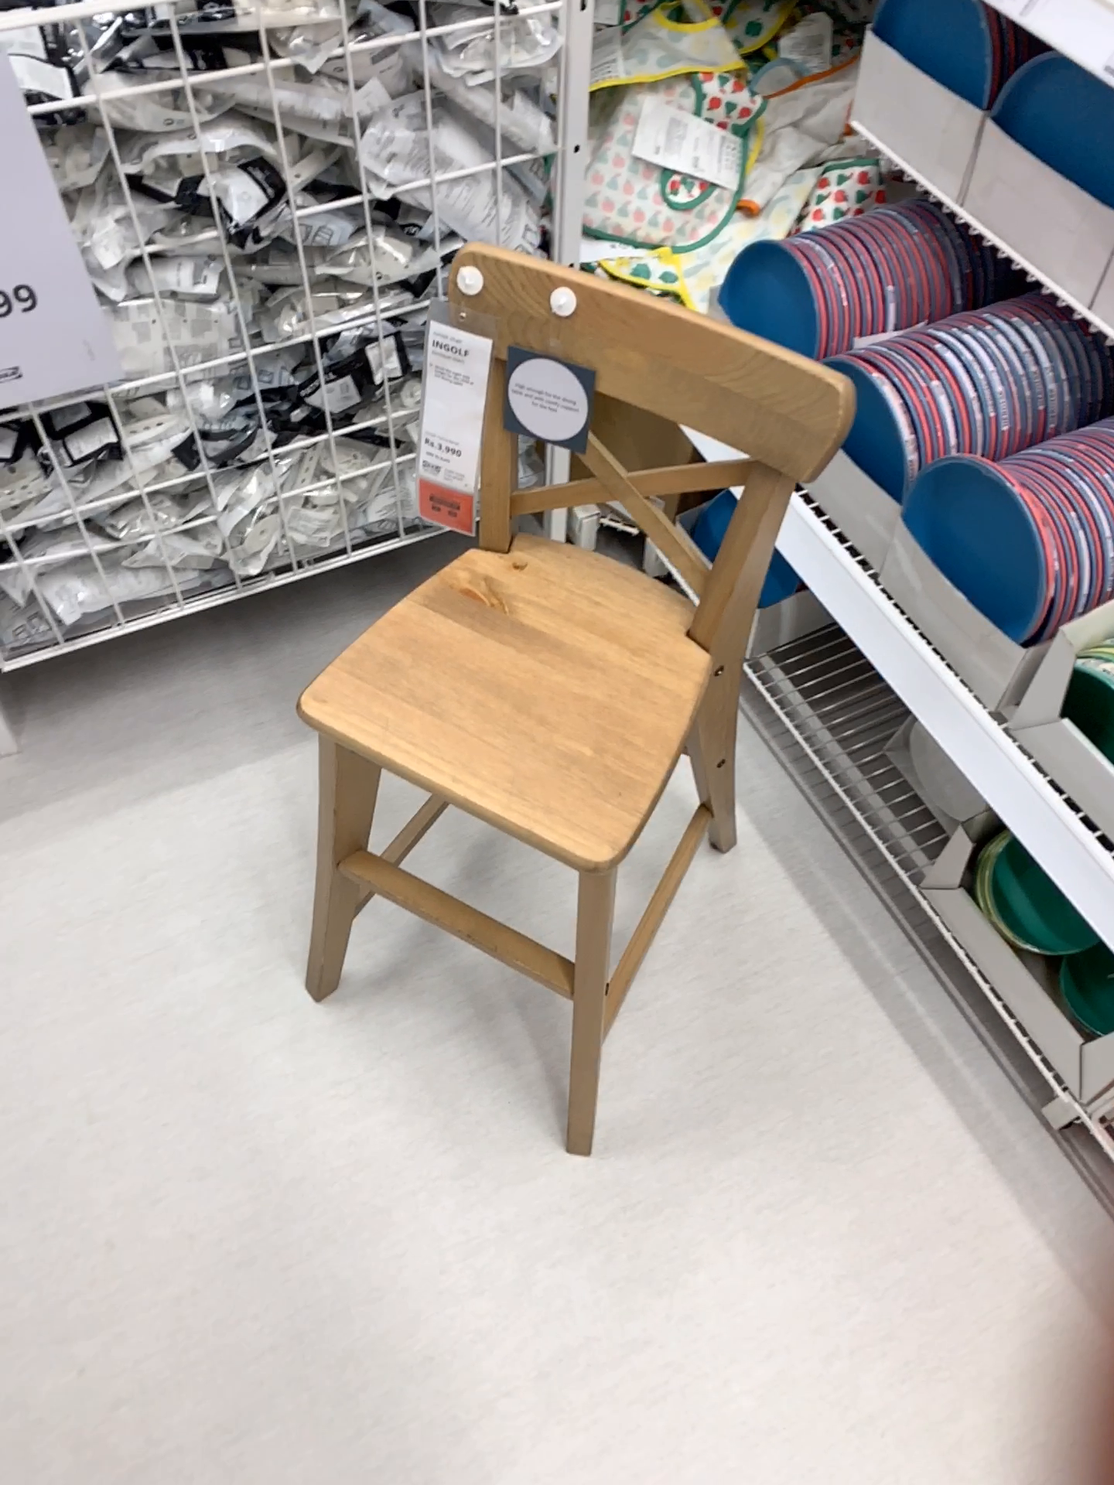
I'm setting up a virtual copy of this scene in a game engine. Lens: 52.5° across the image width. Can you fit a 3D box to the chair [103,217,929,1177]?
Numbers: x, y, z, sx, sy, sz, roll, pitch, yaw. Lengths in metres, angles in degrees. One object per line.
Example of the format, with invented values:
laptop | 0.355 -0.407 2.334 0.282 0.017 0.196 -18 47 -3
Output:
chair | -0.012 0.008 1.038 0.380 0.688 0.461 24 58 14
